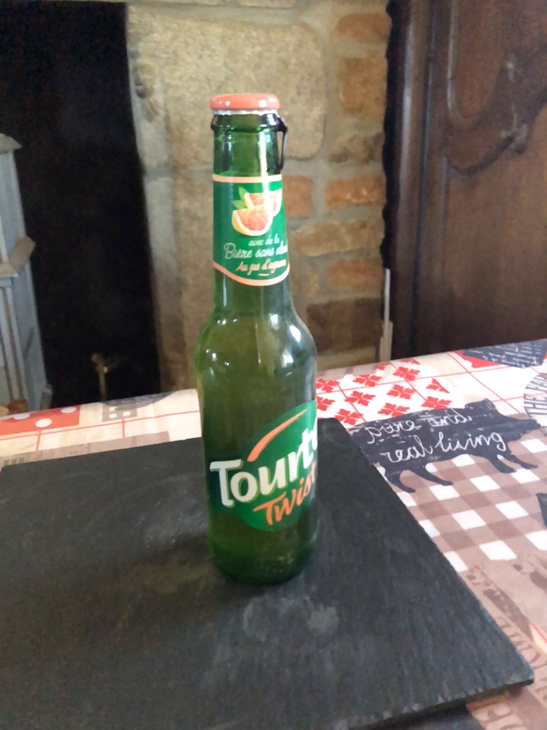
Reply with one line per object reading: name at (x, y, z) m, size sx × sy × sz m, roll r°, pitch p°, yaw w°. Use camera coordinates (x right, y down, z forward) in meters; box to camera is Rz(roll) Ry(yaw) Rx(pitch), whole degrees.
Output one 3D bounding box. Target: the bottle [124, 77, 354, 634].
bottle at (-0.013, -0.001, 0.274) m, size 0.070 × 0.229 × 0.060 m, roll -12°, pitch 23°, yaw -25°
